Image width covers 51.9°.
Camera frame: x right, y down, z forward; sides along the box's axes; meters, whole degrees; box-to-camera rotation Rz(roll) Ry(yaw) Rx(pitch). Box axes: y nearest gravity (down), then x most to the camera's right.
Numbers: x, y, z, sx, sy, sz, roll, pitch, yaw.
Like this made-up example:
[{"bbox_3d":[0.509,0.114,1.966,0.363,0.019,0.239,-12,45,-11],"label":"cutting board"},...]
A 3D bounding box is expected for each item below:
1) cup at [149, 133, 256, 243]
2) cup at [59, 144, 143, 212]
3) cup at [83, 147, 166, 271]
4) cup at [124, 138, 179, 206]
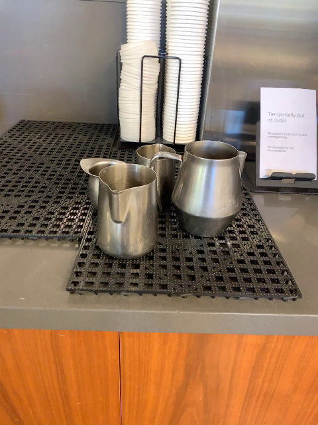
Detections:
[{"bbox_3d":[0.067,-0.042,0.510,0.140,0.119,0.101,10,31,10],"label":"cup"},{"bbox_3d":[-0.089,-0.057,0.524,0.110,0.070,0.070,10,31,11],"label":"cup"},{"bbox_3d":[-0.042,-0.009,0.456,0.080,0.119,0.121,7,31,7],"label":"cup"},{"bbox_3d":[-0.010,-0.072,0.557,0.070,0.070,0.111,8,31,8],"label":"cup"}]
